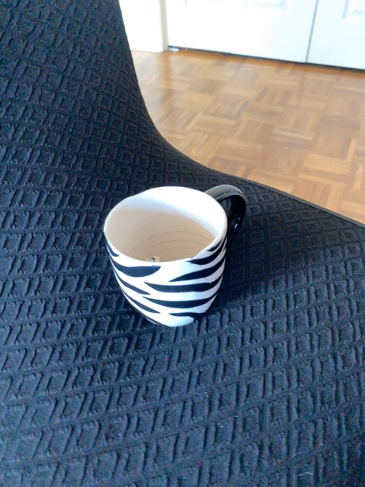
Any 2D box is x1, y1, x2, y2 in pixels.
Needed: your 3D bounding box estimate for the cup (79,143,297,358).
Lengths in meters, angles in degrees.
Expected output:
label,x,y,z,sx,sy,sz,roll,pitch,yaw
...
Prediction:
label,x,y,z,sx,sy,sz,roll,pitch,yaw
cup,0.008,0.001,0.306,0.140,0.090,0.080,-33,53,-24
